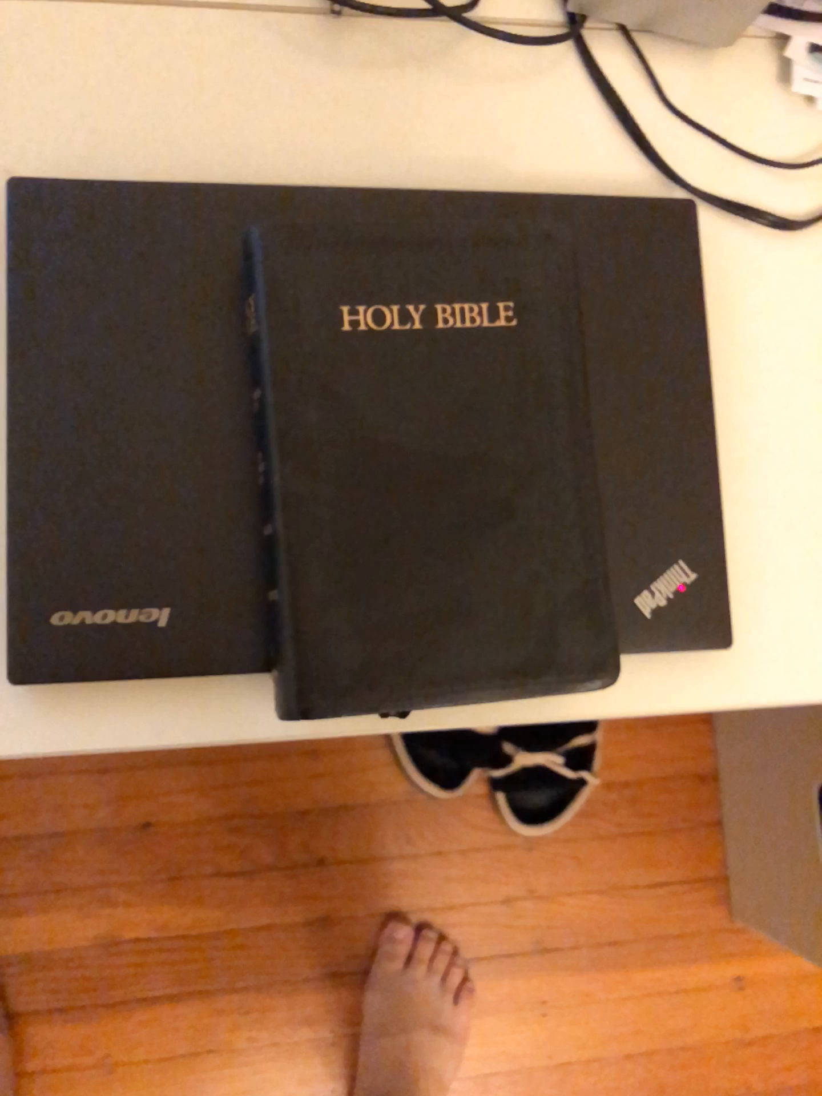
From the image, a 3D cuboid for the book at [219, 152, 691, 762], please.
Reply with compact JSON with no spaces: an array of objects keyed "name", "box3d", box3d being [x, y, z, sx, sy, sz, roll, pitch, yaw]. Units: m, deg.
[{"name":"book","box3d":[0.014,-0.043,0.384,0.170,0.040,0.240,-4,83,-9]}]
